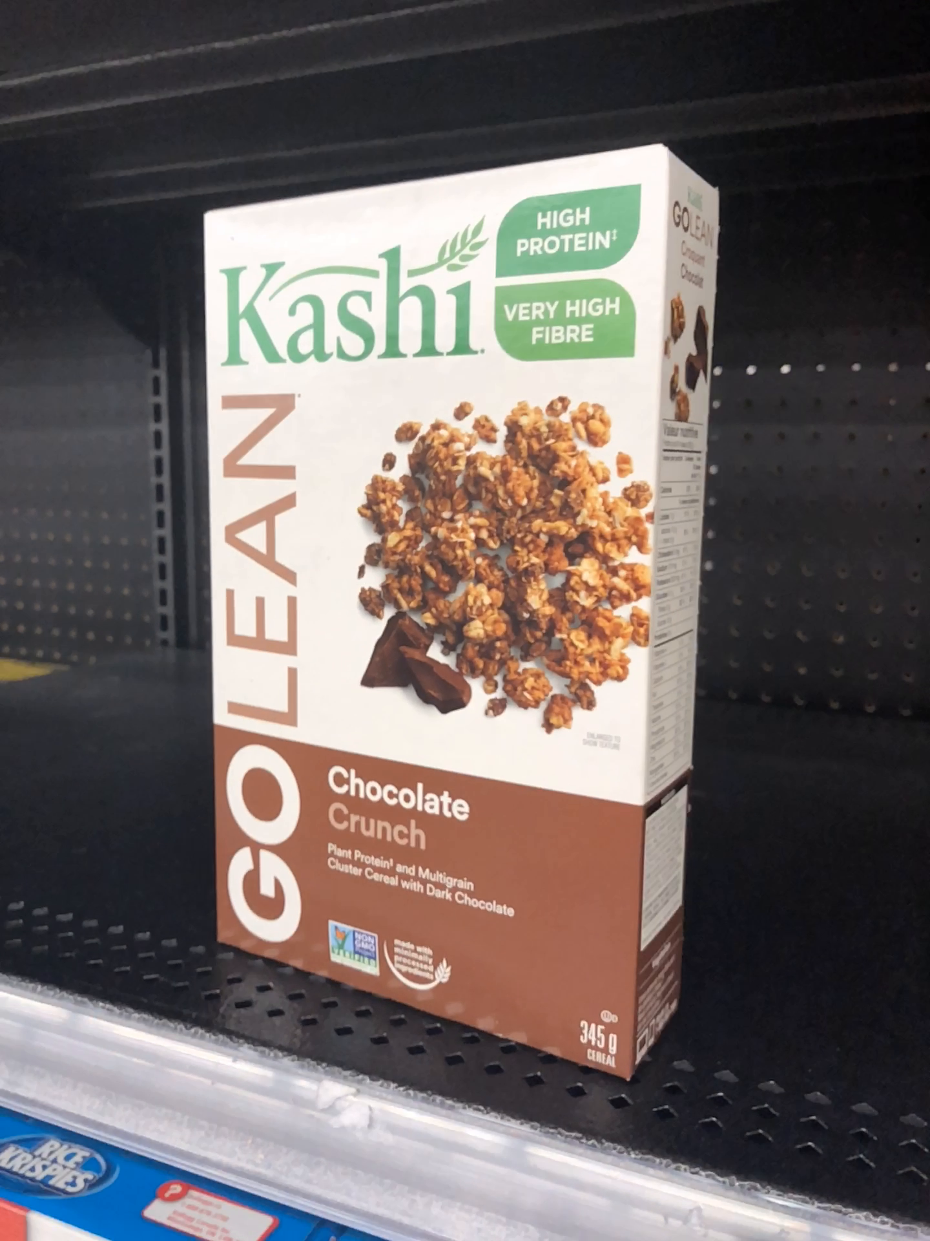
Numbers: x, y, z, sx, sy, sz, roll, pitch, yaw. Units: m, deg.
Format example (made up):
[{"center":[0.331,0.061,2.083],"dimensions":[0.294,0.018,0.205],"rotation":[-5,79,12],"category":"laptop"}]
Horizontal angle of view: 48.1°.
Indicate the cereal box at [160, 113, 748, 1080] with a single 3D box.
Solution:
[{"center":[-0.013,-0.009,0.335],"dimensions":[0.180,0.250,0.050],"rotation":[6,9,31],"category":"cereal box"}]
